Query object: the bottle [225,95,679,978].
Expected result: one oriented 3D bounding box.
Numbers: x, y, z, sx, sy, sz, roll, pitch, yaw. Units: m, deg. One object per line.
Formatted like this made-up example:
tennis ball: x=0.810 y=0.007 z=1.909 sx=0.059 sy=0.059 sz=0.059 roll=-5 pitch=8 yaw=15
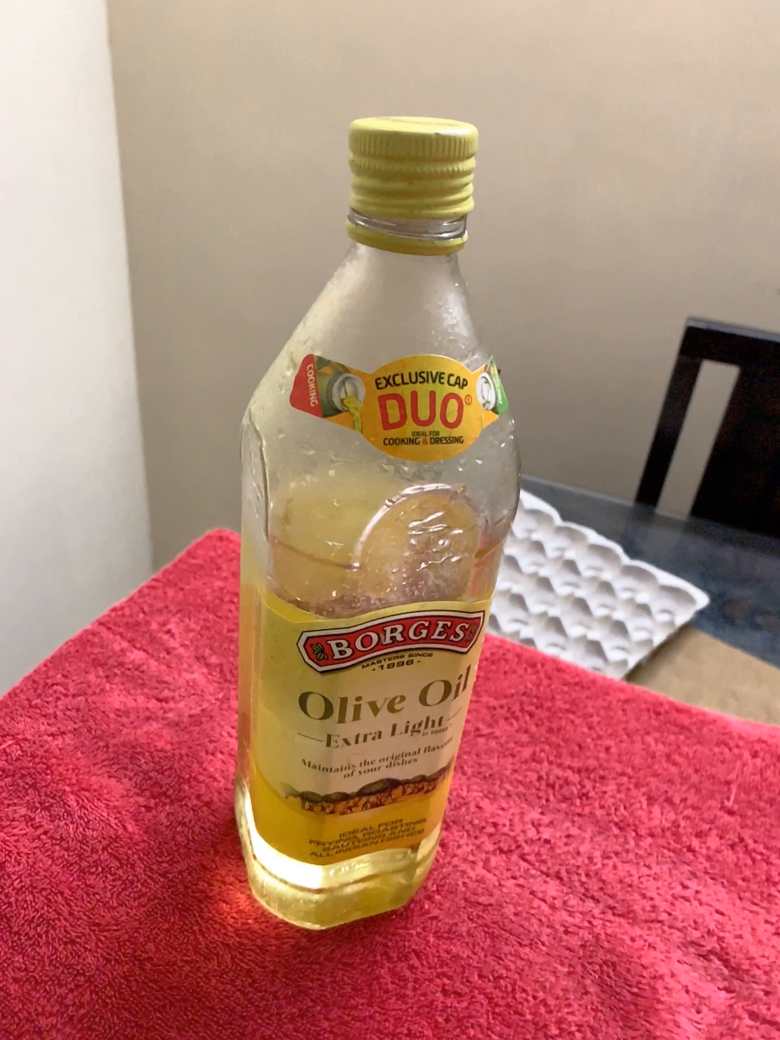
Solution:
bottle: x=-0.003 y=0.026 z=0.251 sx=0.080 sy=0.268 sz=0.071 roll=-6 pitch=35 yaw=-18
